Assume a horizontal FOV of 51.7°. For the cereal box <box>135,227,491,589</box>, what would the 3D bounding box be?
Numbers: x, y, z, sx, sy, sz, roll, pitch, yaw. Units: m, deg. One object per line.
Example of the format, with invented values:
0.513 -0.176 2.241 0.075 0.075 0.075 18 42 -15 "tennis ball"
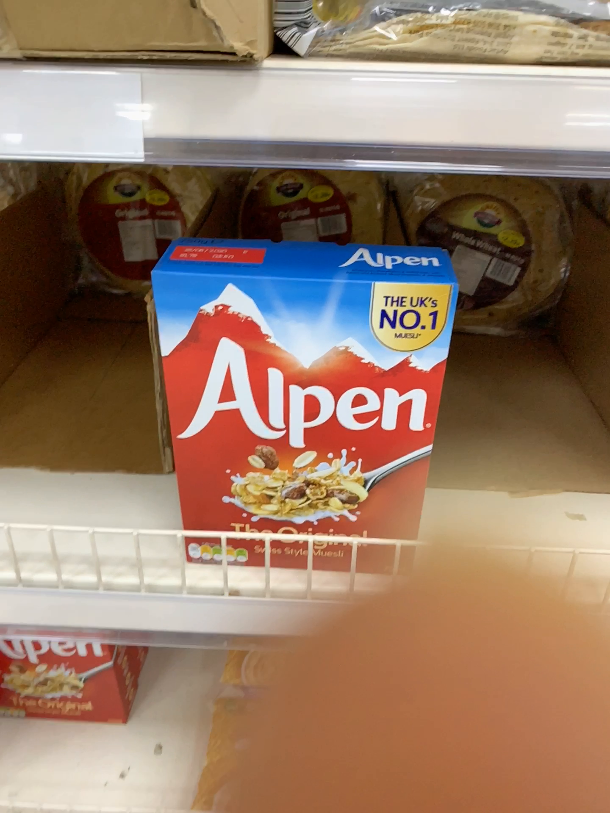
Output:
0.003 0.010 0.428 0.190 0.238 0.071 2 32 1 "cereal box"
